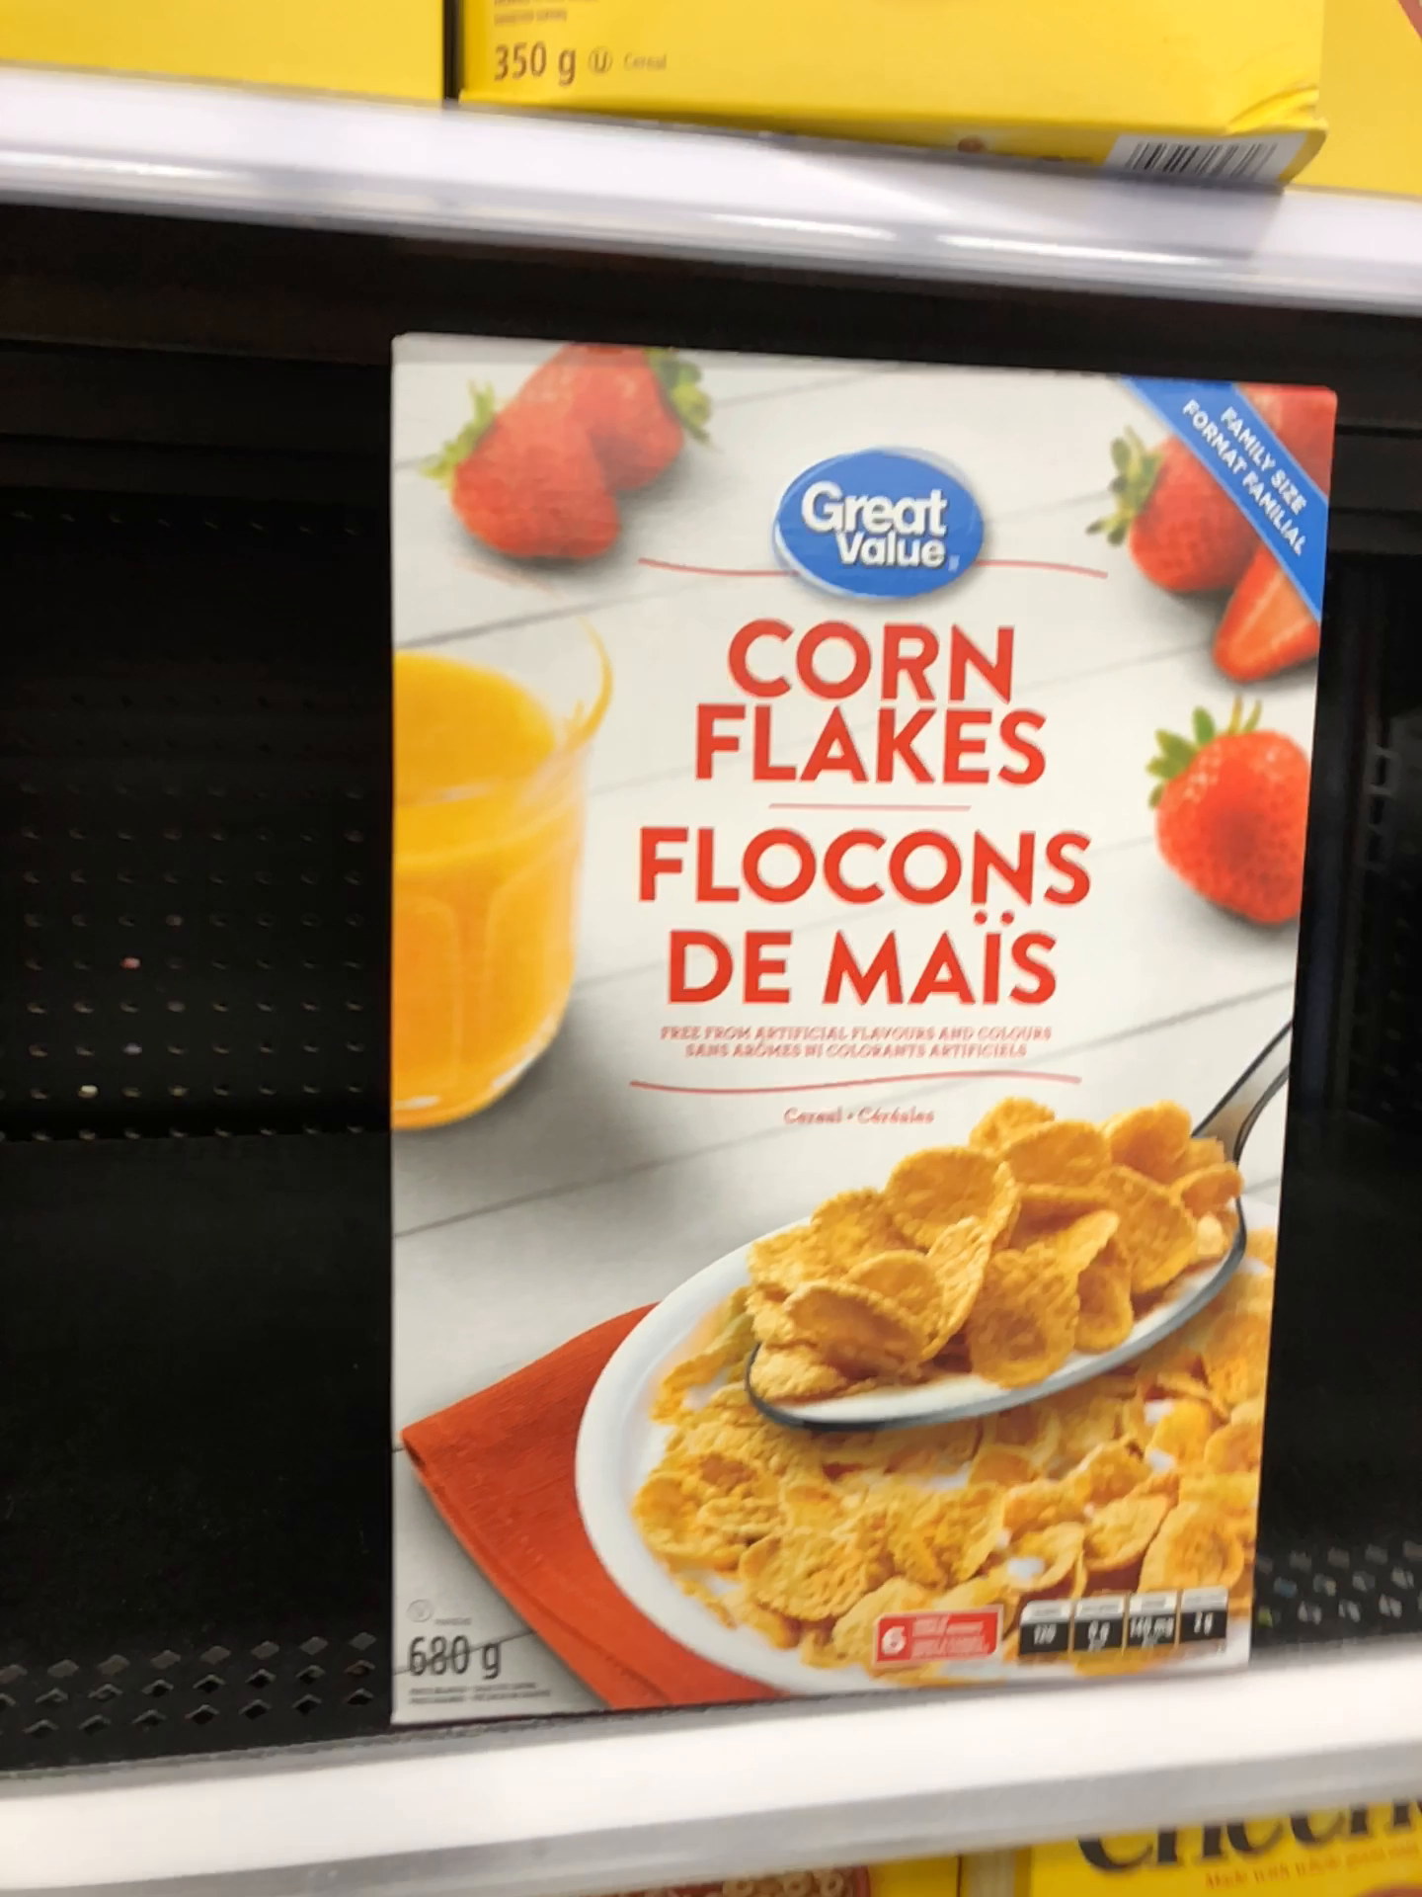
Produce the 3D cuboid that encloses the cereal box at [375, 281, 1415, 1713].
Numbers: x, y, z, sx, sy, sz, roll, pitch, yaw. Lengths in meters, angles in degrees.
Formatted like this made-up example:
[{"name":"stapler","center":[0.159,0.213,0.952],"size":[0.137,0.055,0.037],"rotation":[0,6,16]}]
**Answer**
[{"name":"cereal box","center":[0.036,0.014,0.418],"size":[0.240,0.329,0.090],"rotation":[0,8,-9]}]
